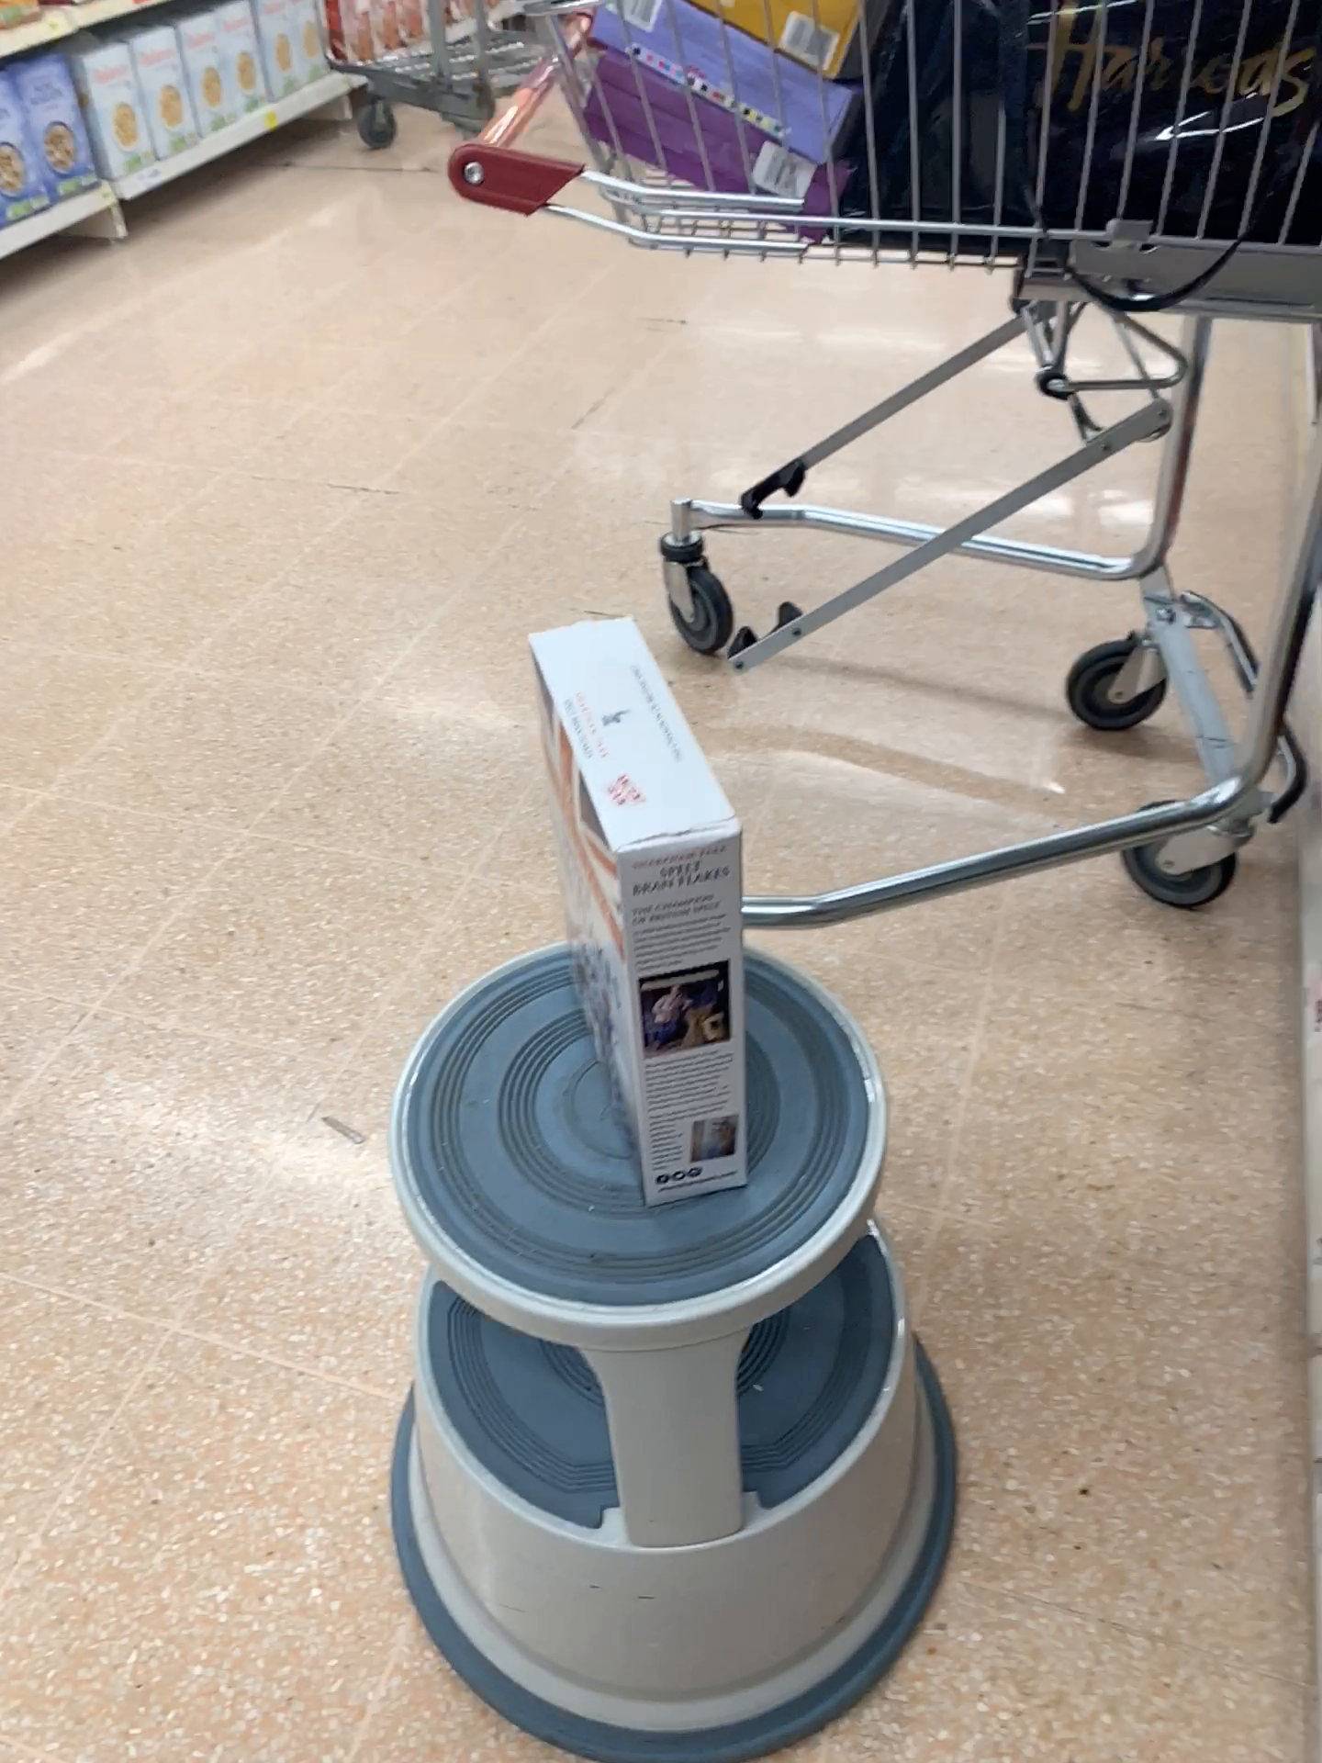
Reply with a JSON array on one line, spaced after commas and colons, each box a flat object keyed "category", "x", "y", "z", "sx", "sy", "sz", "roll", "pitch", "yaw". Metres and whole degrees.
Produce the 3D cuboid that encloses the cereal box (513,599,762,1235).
[{"category": "cereal box", "x": -0.011, "y": 0.019, "z": 0.711, "sx": 0.070, "sy": 0.257, "sz": 0.202, "roll": -12, "pitch": 41, "yaw": -9}]
